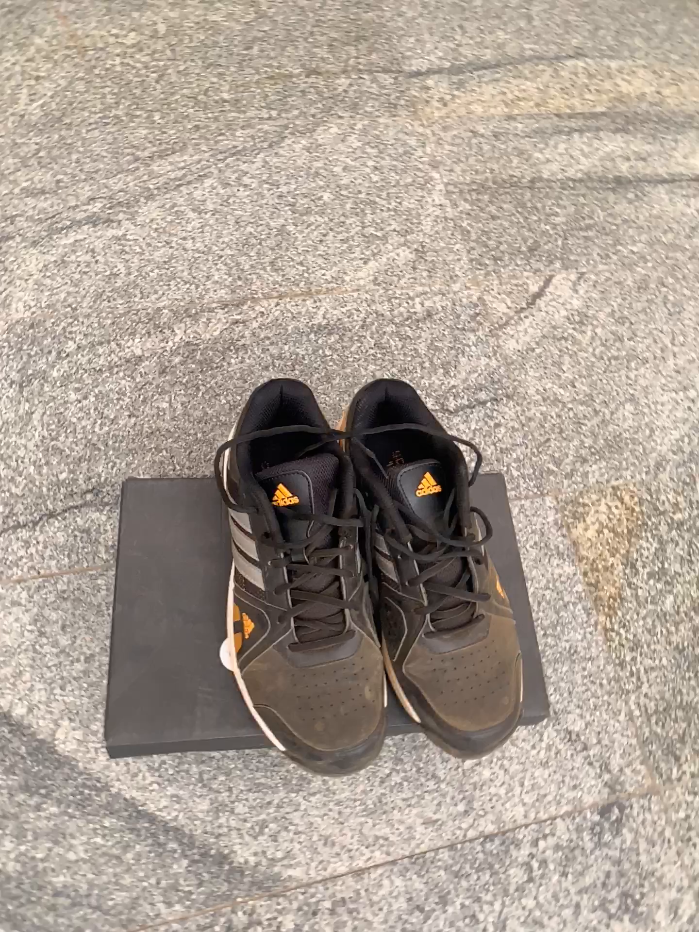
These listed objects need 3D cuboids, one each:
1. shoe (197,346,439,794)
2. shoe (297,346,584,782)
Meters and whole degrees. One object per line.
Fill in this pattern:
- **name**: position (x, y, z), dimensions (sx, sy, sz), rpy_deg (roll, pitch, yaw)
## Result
- **shoe**: position (-0.036, 0.064, 0.509), dimensions (0.110, 0.090, 0.291), rpy_deg (-6, 65, -13)
- **shoe**: position (0.053, 0.067, 0.547), dimensions (0.110, 0.090, 0.301), rpy_deg (-15, 67, -8)
